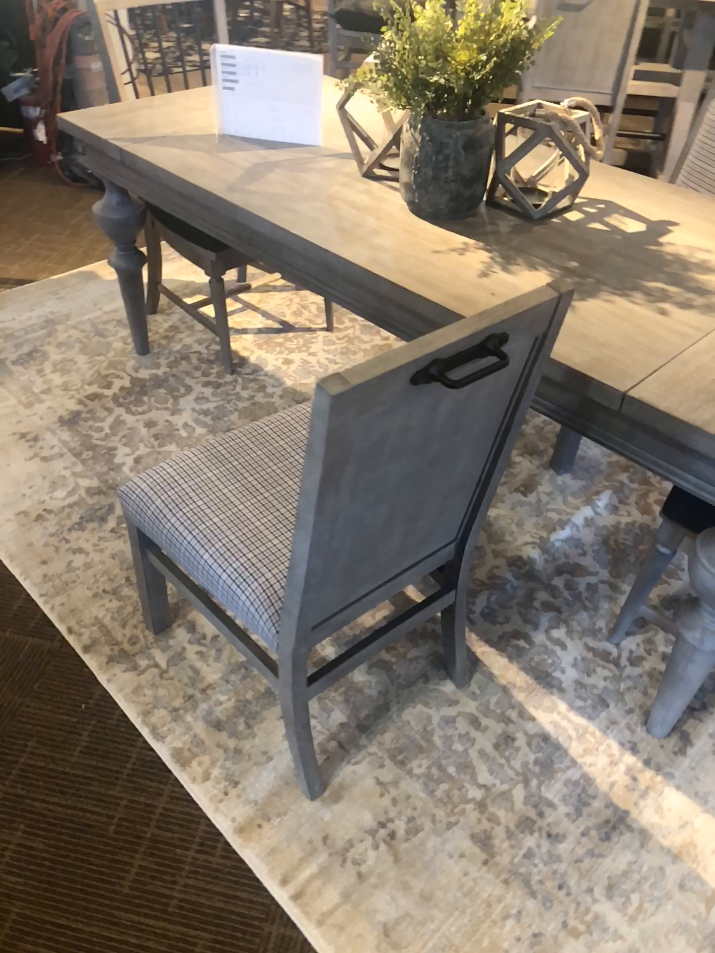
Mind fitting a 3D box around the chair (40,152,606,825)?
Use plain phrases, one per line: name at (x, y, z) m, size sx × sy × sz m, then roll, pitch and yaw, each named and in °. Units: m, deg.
chair at (-0.085, 0.002, 1.396) m, size 0.511 × 0.865 × 0.662 m, roll -27°, pitch 48°, yaw -31°
